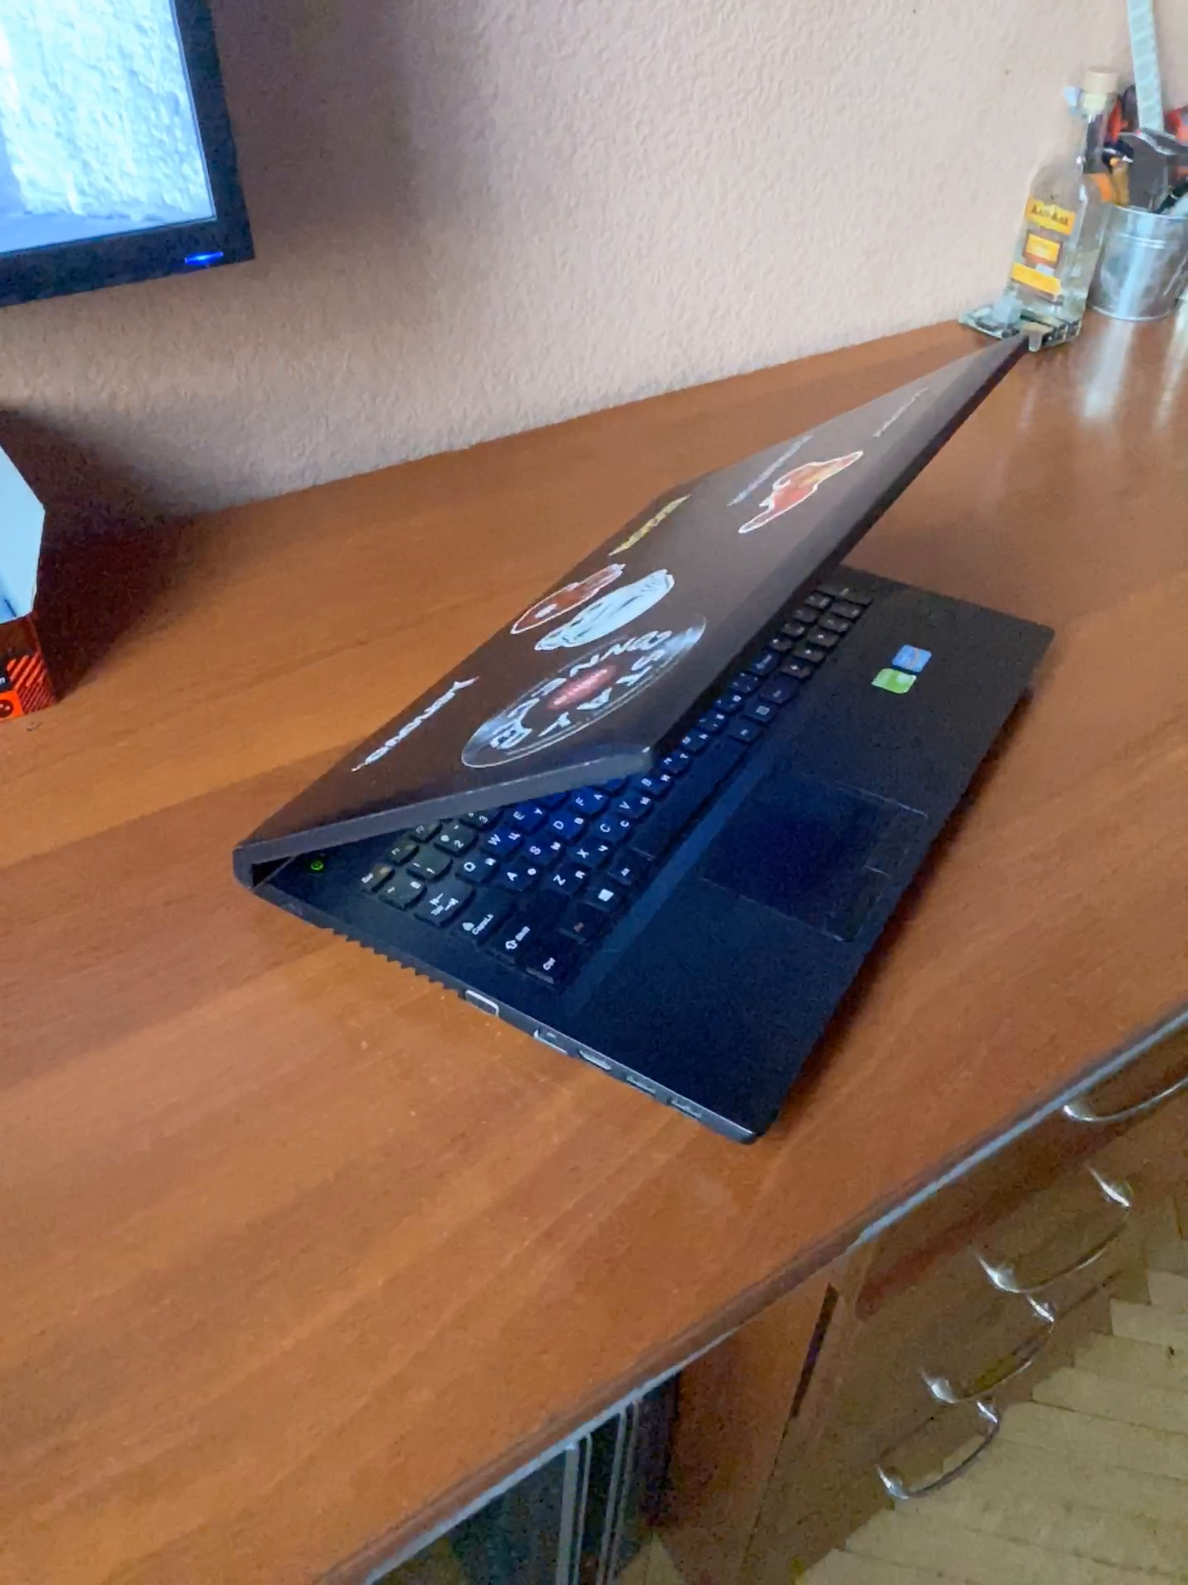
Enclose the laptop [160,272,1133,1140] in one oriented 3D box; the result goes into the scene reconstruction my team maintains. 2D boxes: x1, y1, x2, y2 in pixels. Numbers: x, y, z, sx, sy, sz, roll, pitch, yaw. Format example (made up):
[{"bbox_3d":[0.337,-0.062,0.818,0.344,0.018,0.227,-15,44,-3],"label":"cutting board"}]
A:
[{"bbox_3d":[0.051,-0.084,0.552,0.256,0.149,0.378,23,45,22],"label":"laptop"}]
